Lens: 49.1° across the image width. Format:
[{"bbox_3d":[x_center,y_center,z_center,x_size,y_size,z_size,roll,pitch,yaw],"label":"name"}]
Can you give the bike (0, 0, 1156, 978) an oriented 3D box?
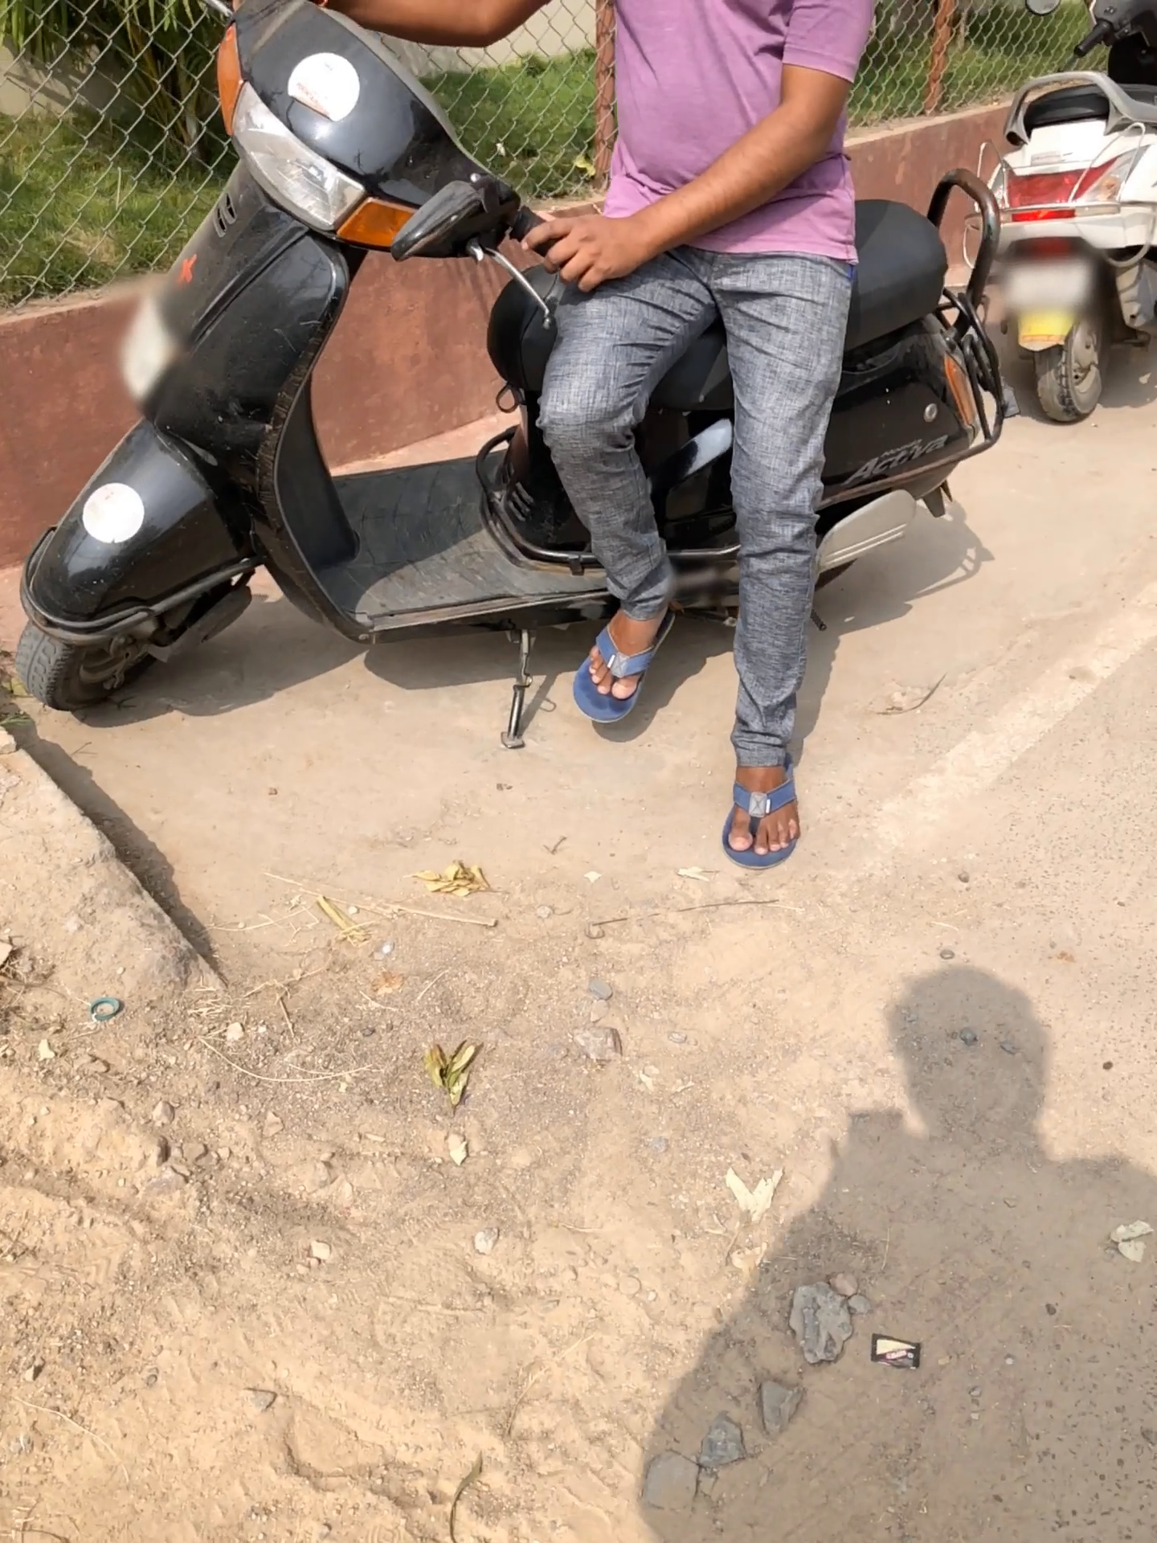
[{"bbox_3d":[-0.098,-0.560,1.900,1.551,1.153,0.711,-14,38,-18],"label":"bike"}]
